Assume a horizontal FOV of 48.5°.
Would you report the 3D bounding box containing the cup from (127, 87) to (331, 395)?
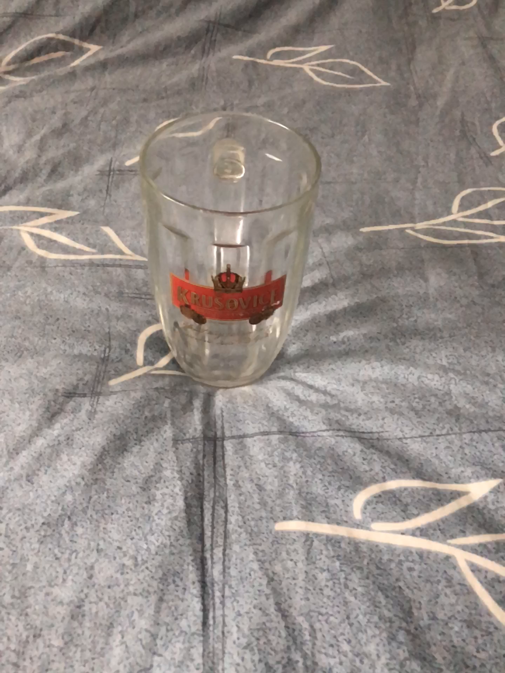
[{"bbox_3d":[-0.012,-0.058,0.343,0.091,0.136,0.128,-1,46,-1],"label":"cup"}]
